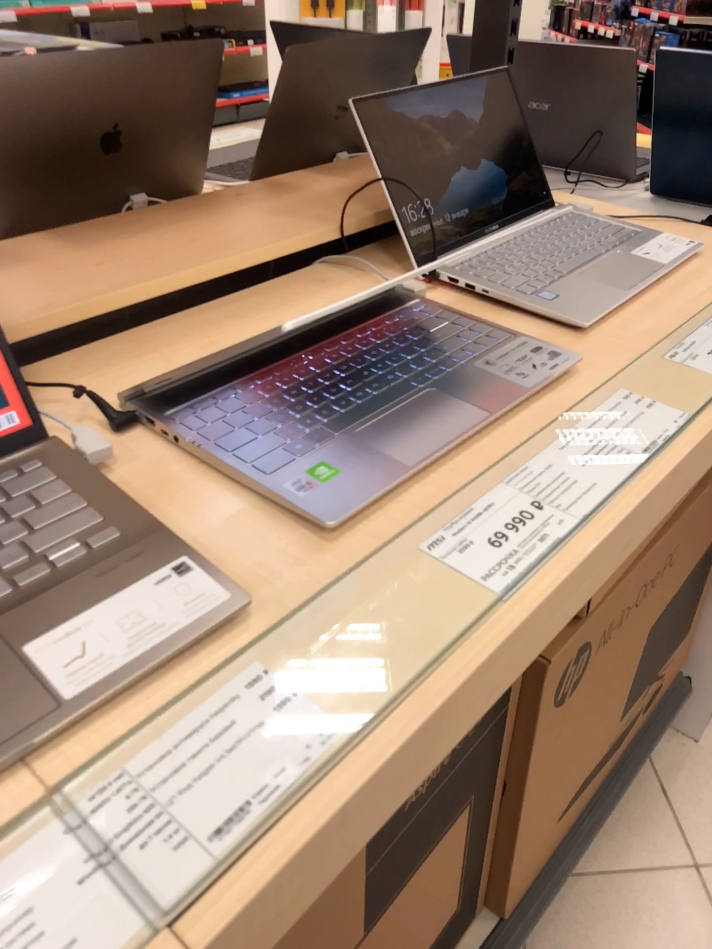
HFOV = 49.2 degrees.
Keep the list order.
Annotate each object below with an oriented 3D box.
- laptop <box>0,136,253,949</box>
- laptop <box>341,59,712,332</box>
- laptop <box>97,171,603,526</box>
[{"bbox_3d":[-0.276,-0.014,0.355,0.314,0.169,0.311,29,42,32],"label":"laptop"},{"bbox_3d":[0.204,-0.338,0.877,0.301,0.154,0.326,29,44,29],"label":"laptop"},{"bbox_3d":[0.009,-0.127,0.606,0.216,0.112,0.322,28,43,32],"label":"laptop"}]
